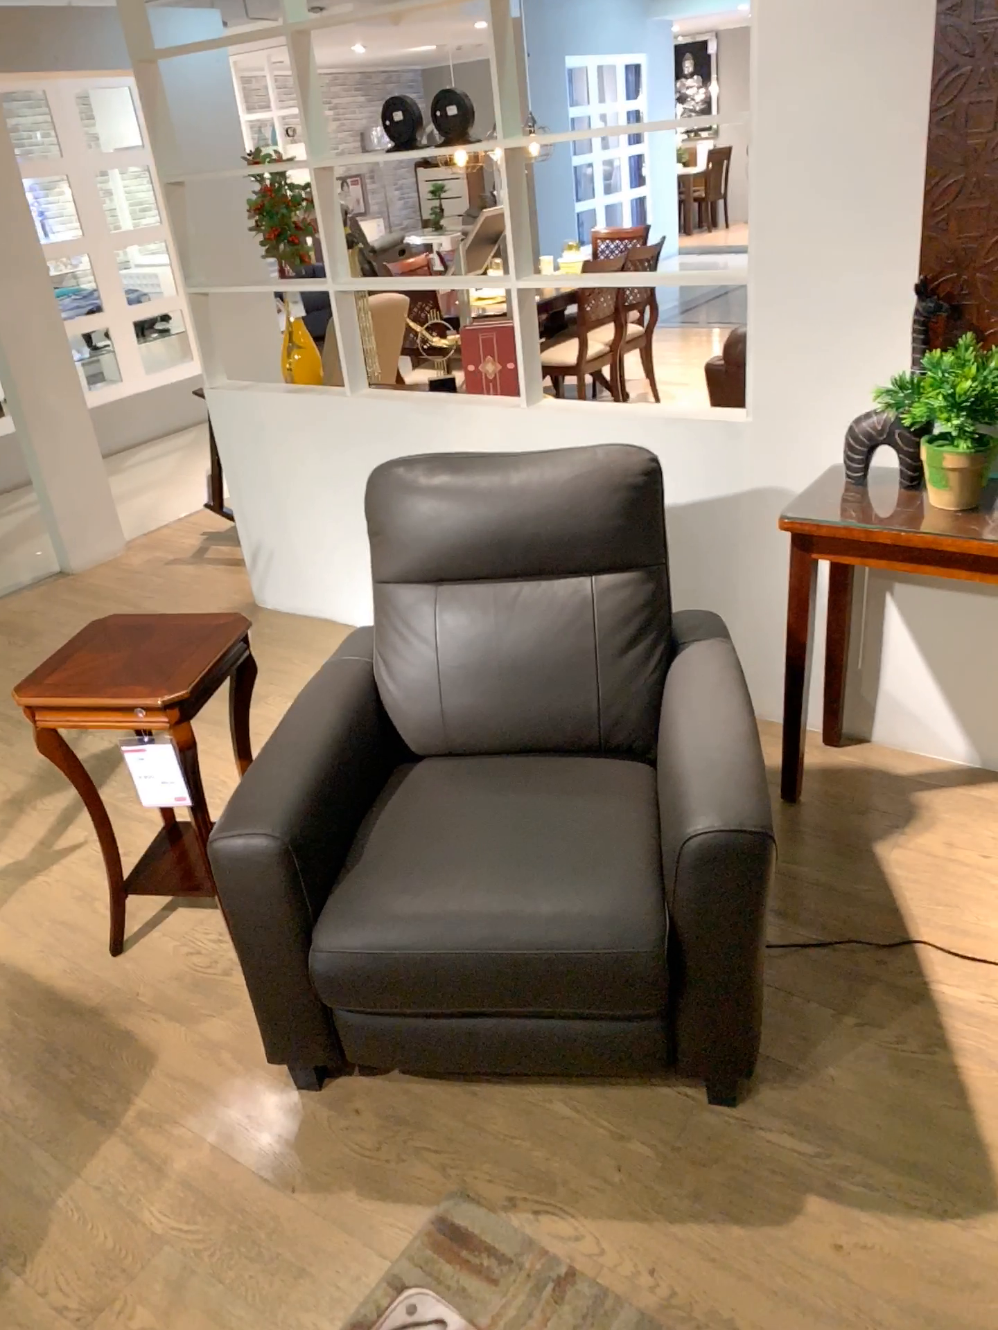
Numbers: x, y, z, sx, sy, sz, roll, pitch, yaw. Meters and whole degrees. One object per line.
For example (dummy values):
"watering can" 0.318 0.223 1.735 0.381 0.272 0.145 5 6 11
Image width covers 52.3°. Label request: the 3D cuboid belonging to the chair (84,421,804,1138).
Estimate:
"chair" 0.006 0.154 1.914 0.940 0.926 0.924 -2 28 9
